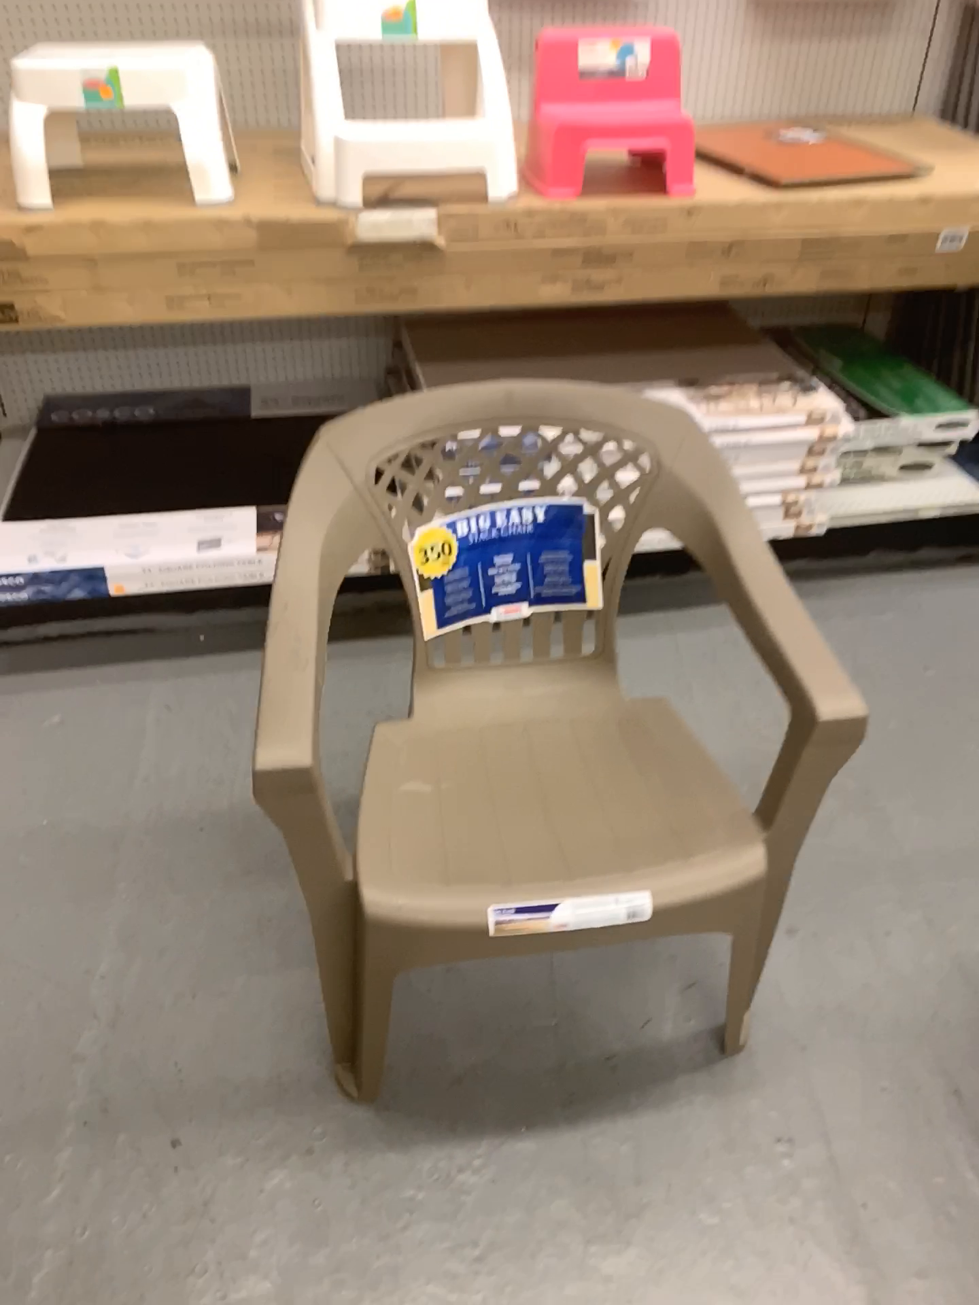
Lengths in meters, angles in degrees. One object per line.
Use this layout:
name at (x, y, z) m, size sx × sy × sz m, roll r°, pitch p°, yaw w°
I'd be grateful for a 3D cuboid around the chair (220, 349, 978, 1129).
chair at (0.098, 0.117, 1.424) m, size 0.766 × 0.878 × 0.591 m, roll -4°, pitch 37°, yaw -6°
